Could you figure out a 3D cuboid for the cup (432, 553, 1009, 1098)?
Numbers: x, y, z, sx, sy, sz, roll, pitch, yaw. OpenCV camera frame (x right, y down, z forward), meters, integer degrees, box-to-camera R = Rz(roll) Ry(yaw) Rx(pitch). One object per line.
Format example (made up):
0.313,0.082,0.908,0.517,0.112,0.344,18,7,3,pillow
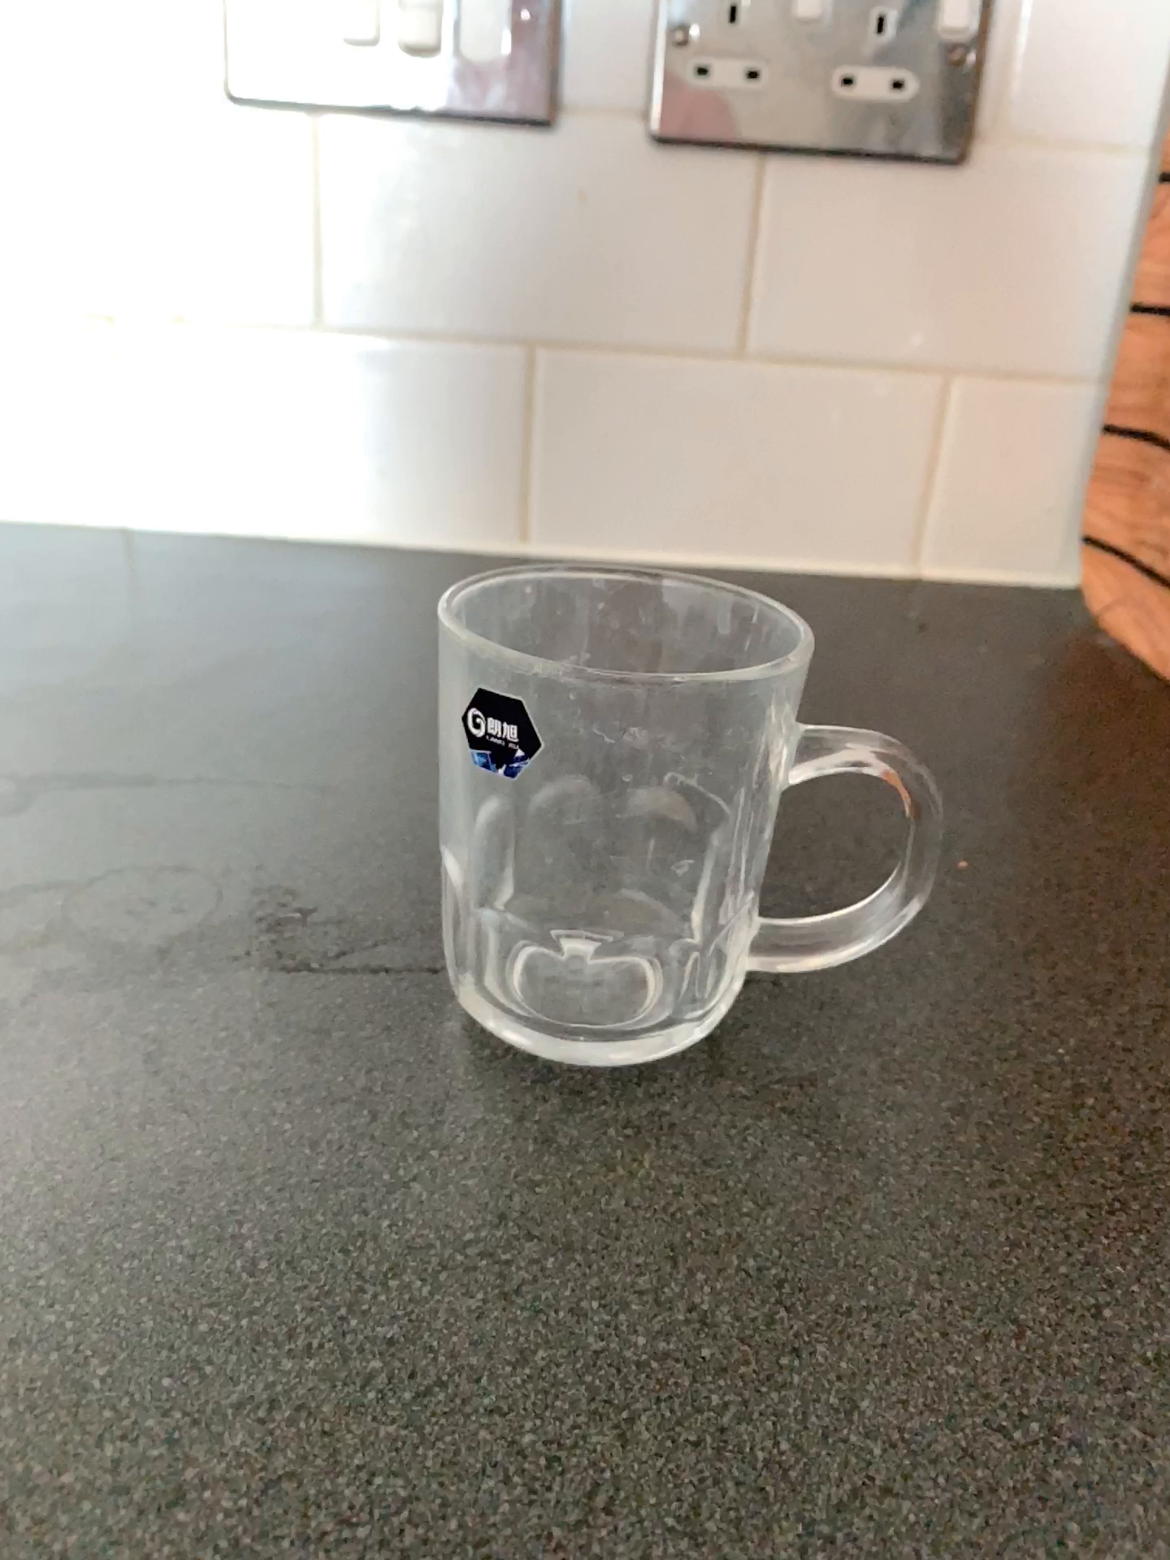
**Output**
0.019,0.007,0.261,0.100,0.090,0.071,1,24,-8,cup
